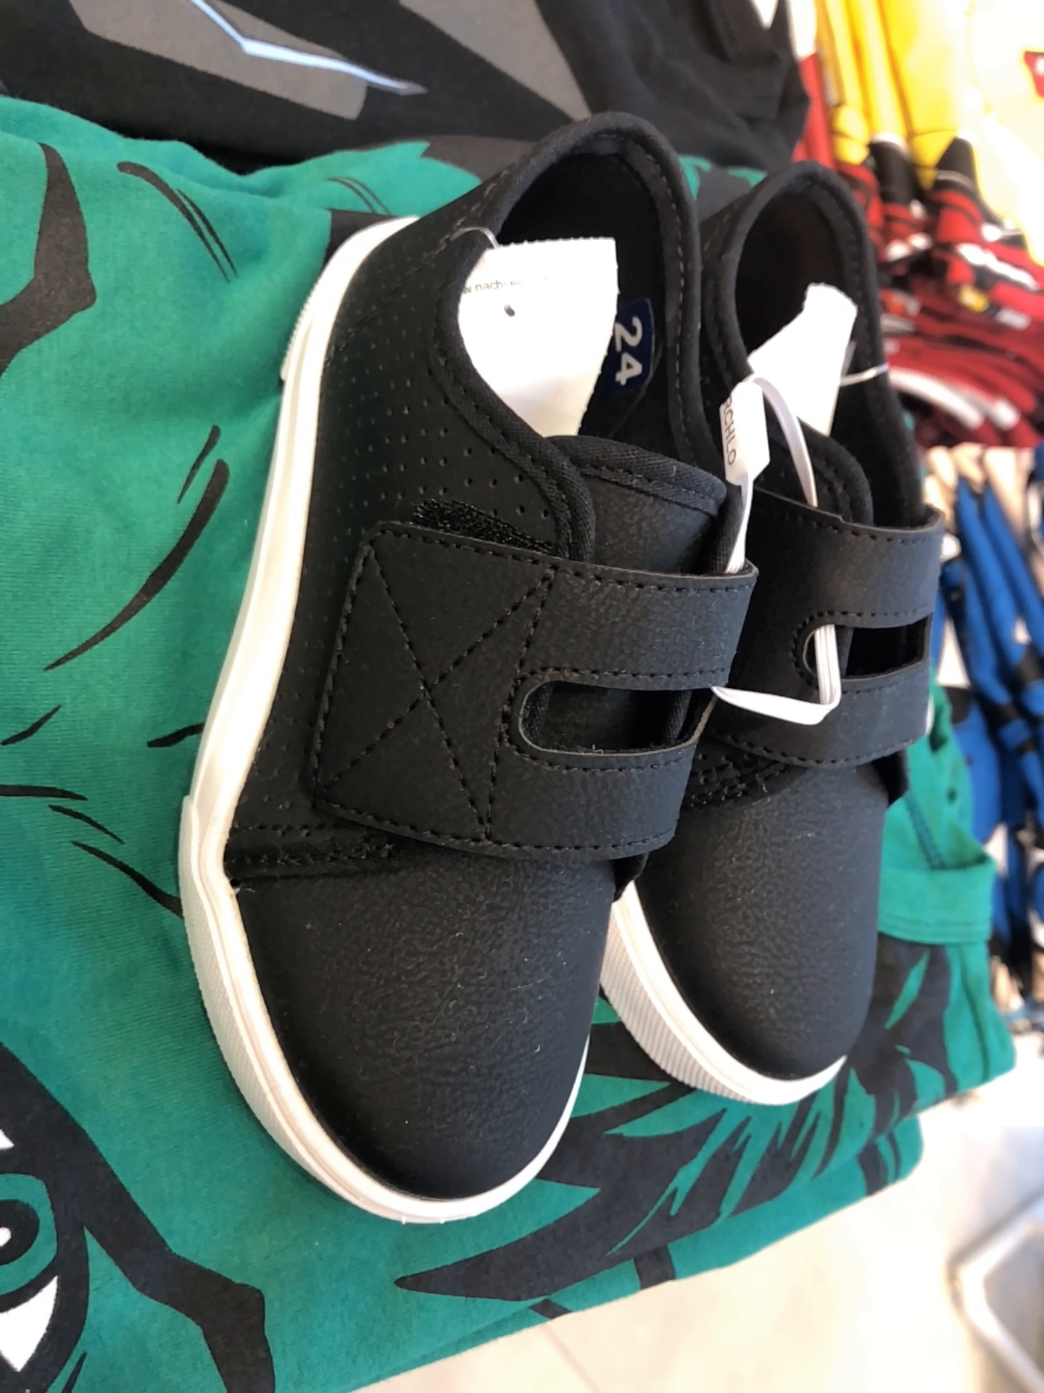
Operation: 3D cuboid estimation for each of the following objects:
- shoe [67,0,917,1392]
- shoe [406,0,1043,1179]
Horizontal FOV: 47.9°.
[{"bbox_3d":[-0.006,-0.002,0.181,0.080,0.089,0.170,10,75,-40],"label":"shoe"},{"bbox_3d":[0.046,-0.013,0.228,0.091,0.089,0.170,2,81,-42],"label":"shoe"}]
